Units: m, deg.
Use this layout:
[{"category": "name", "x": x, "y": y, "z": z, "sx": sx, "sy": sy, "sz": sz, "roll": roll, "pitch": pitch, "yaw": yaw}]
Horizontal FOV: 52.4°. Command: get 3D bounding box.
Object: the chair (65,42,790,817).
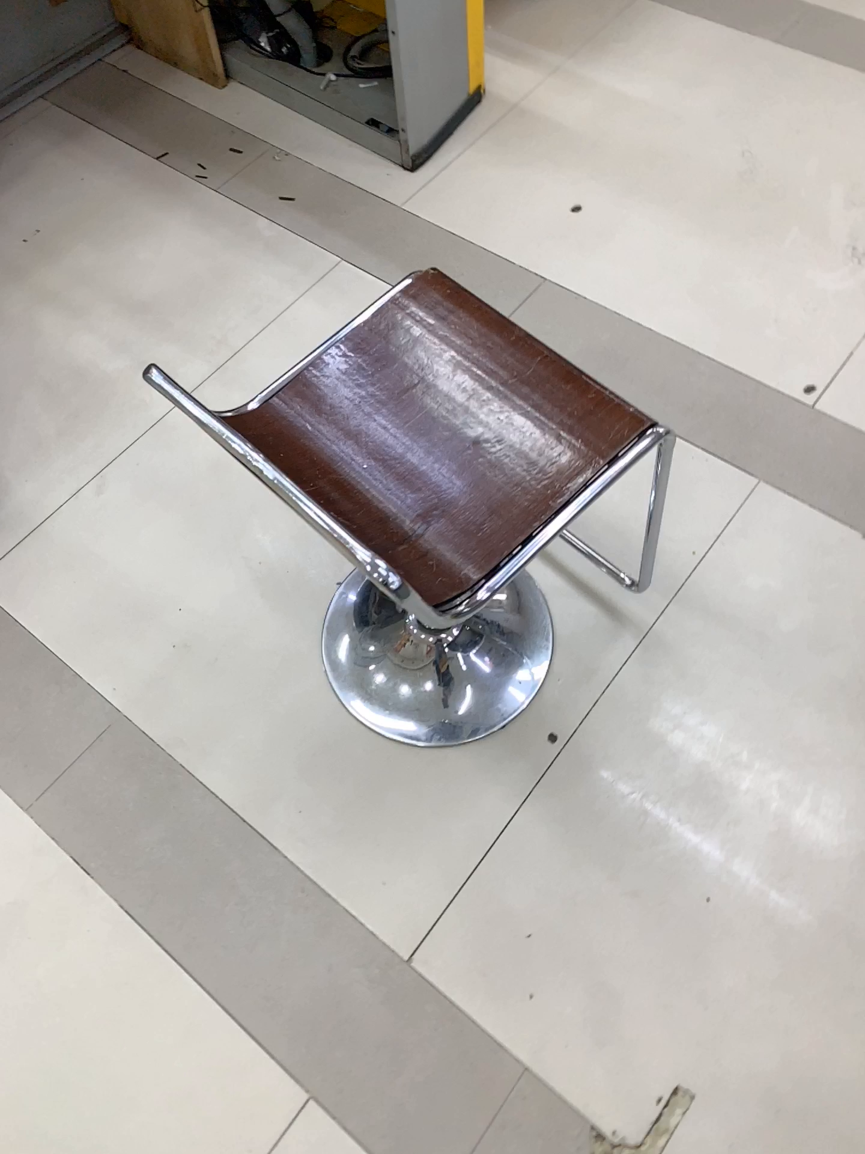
[{"category": "chair", "x": 0.012, "y": -0.119, "z": 1.093, "sx": 0.481, "sy": 0.706, "sz": 0.442, "roll": -42, "pitch": 66, "yaw": -18}]
